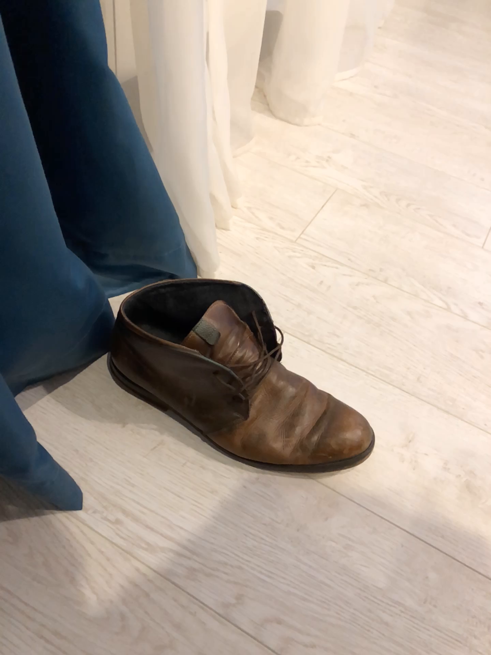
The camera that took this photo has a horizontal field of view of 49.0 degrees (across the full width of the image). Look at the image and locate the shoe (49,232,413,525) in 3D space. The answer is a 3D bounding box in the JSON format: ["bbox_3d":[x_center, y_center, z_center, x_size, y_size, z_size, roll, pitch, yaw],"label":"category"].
[{"bbox_3d":[-0.018,0.051,0.571,0.320,0.159,0.131,22,52,12],"label":"shoe"}]
